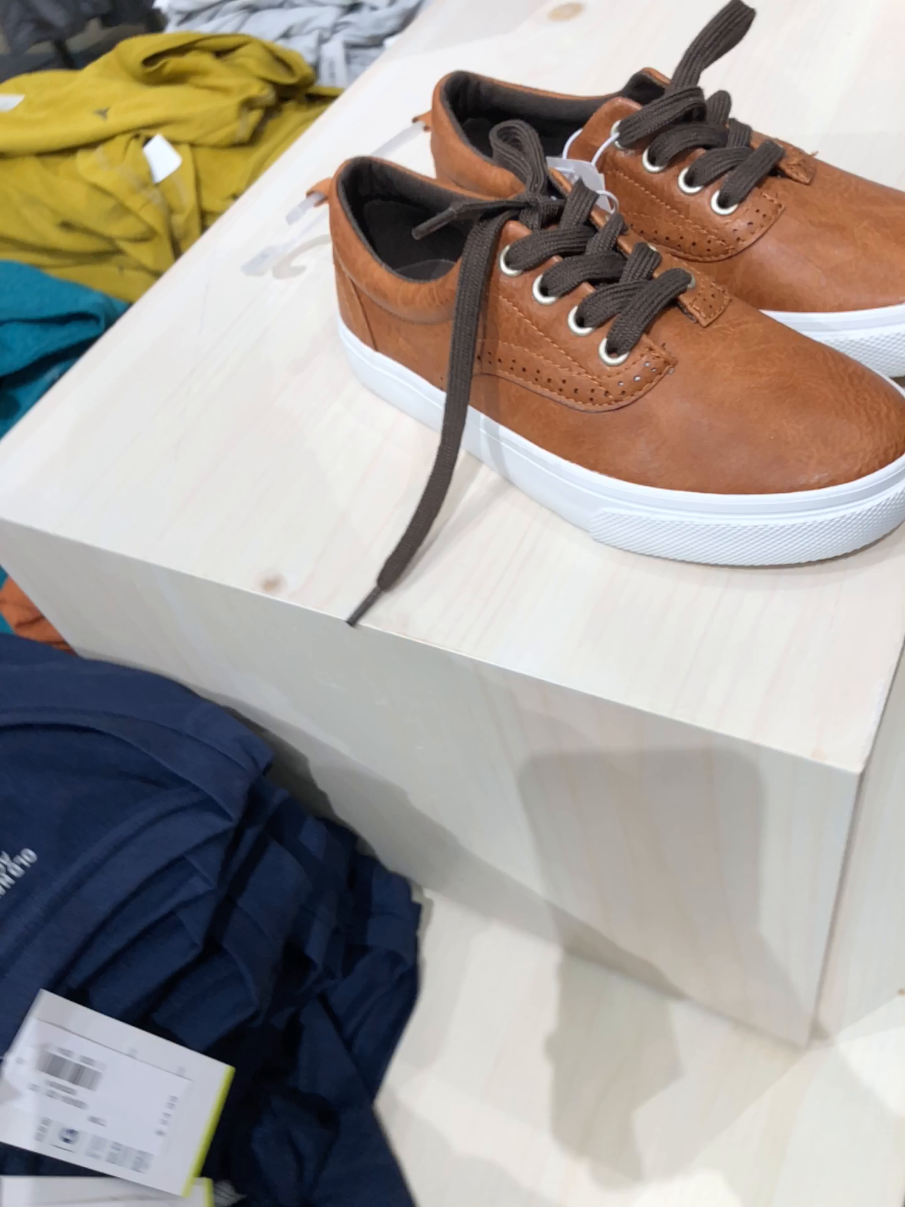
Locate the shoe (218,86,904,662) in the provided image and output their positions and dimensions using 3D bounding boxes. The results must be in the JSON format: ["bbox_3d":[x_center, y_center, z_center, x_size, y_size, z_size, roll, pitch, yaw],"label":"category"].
[{"bbox_3d":[0.039,-0.088,0.331,0.221,0.090,0.090,30,65,34],"label":"shoe"}]

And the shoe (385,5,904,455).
[{"bbox_3d":[0.092,-0.141,0.355,0.211,0.080,0.090,26,63,32],"label":"shoe"}]
